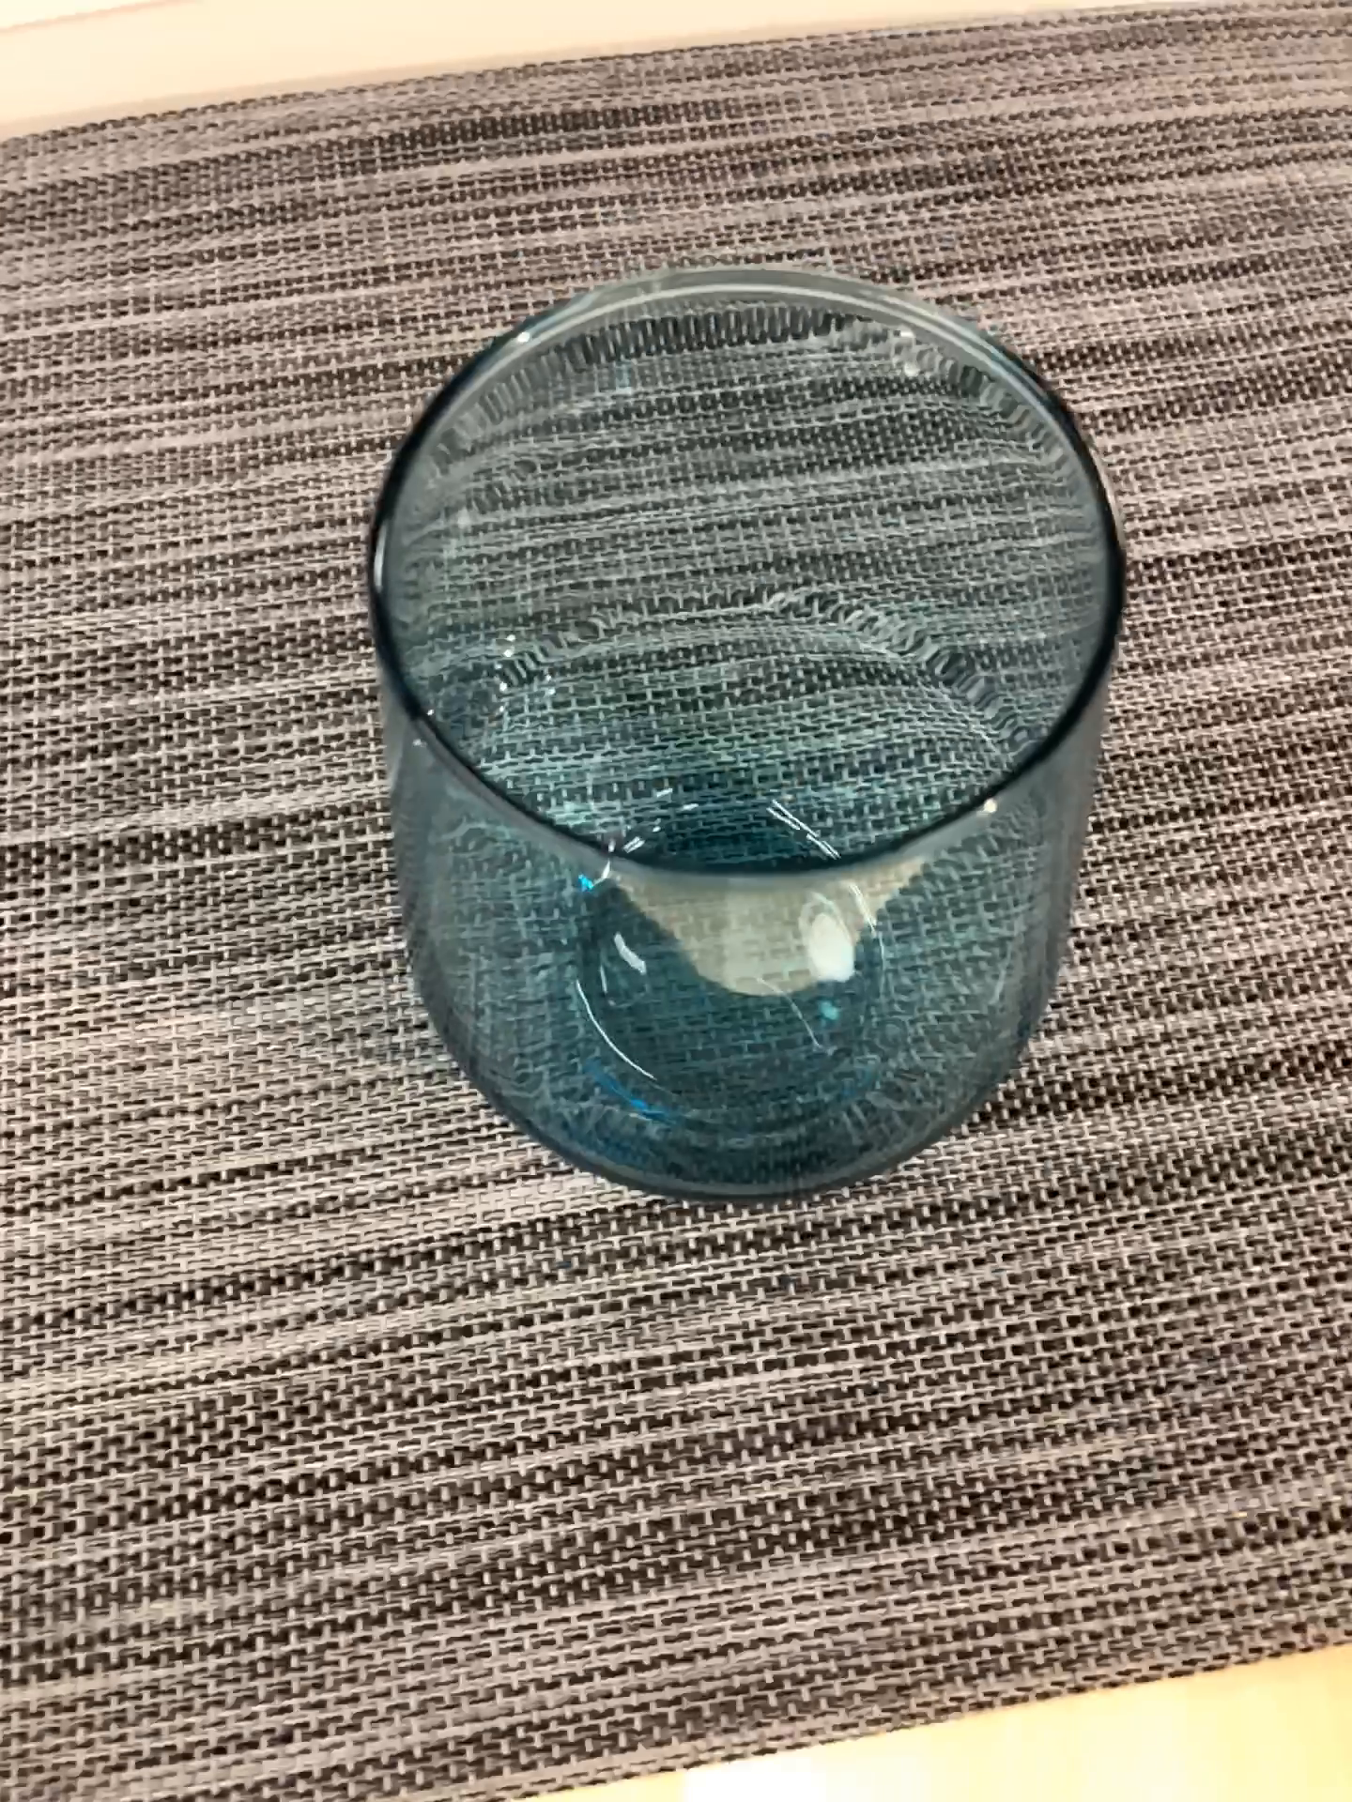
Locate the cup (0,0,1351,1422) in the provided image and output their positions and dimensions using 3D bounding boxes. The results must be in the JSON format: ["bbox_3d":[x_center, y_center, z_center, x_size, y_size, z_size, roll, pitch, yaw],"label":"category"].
[{"bbox_3d":[-0.004,-0.025,0.207,0.120,0.120,0.120,-1,64,1],"label":"cup"}]
